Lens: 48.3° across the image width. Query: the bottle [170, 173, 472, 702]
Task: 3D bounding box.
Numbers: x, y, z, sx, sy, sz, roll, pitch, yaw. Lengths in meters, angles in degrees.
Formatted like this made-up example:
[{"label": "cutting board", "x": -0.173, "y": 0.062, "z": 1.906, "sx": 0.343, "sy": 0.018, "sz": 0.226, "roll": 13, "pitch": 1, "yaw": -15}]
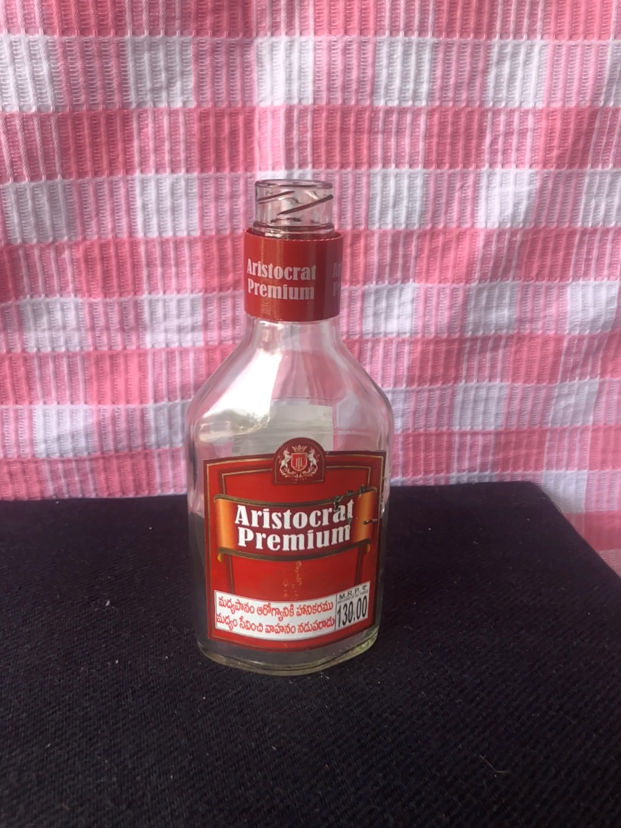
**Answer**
[{"label": "bottle", "x": -0.004, "y": 0.009, "z": 0.211, "sx": 0.070, "sy": 0.149, "sz": 0.050, "roll": 0, "pitch": 24, "yaw": -9}]
